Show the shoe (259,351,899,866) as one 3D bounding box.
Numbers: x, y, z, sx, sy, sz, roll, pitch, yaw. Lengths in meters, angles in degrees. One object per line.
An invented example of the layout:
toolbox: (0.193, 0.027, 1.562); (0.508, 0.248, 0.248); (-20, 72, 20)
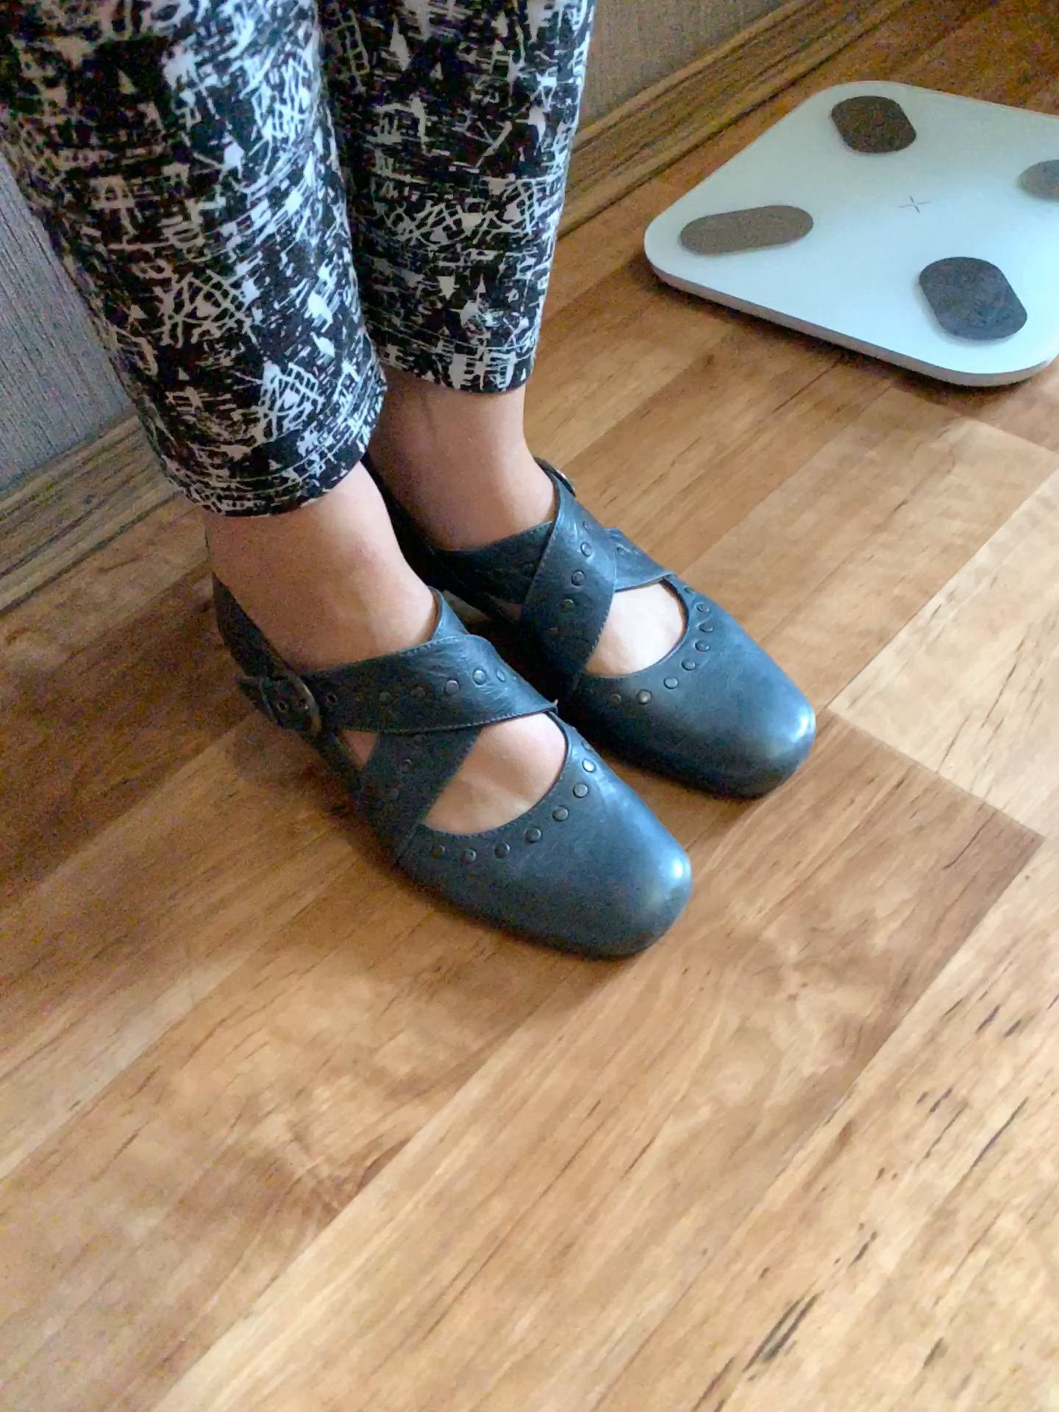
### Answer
shoe: (0.014, -0.051, 0.467); (0.251, 0.100, 0.090); (29, 61, 28)

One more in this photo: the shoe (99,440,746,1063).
shoe: (-0.044, 0.006, 0.415); (0.241, 0.100, 0.090); (34, 64, 31)
